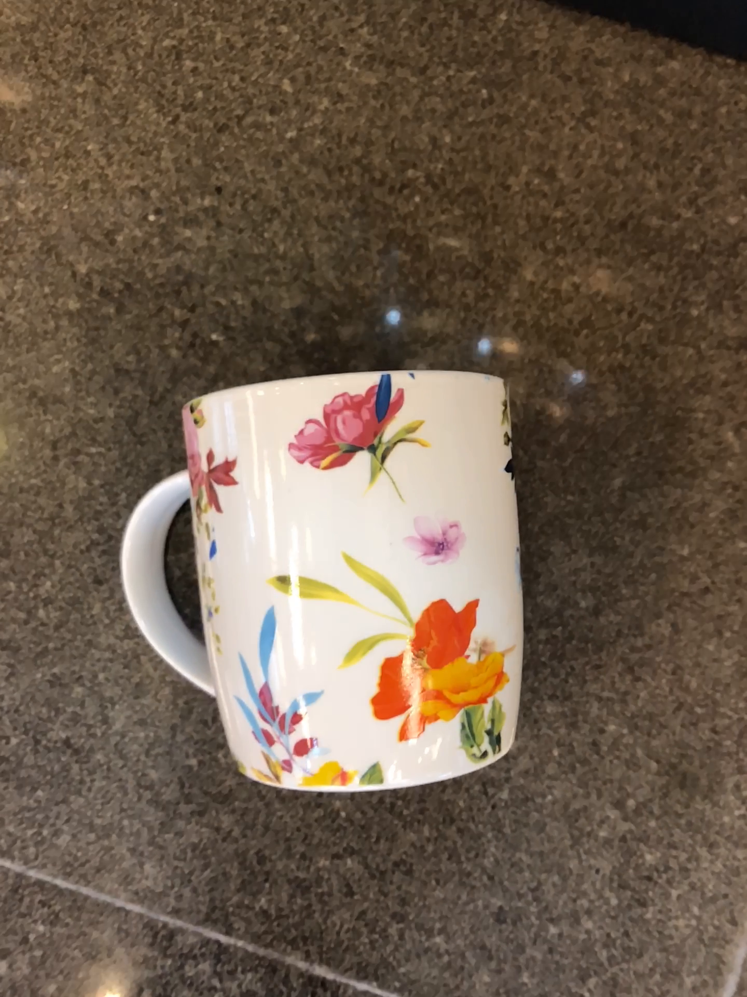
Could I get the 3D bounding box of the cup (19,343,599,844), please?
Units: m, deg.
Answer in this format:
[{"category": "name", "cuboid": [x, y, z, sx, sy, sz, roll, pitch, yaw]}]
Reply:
[{"category": "cup", "cuboid": [-0.018, 0.022, 0.218, 0.120, 0.080, 0.090, -7, 87, 35]}]
